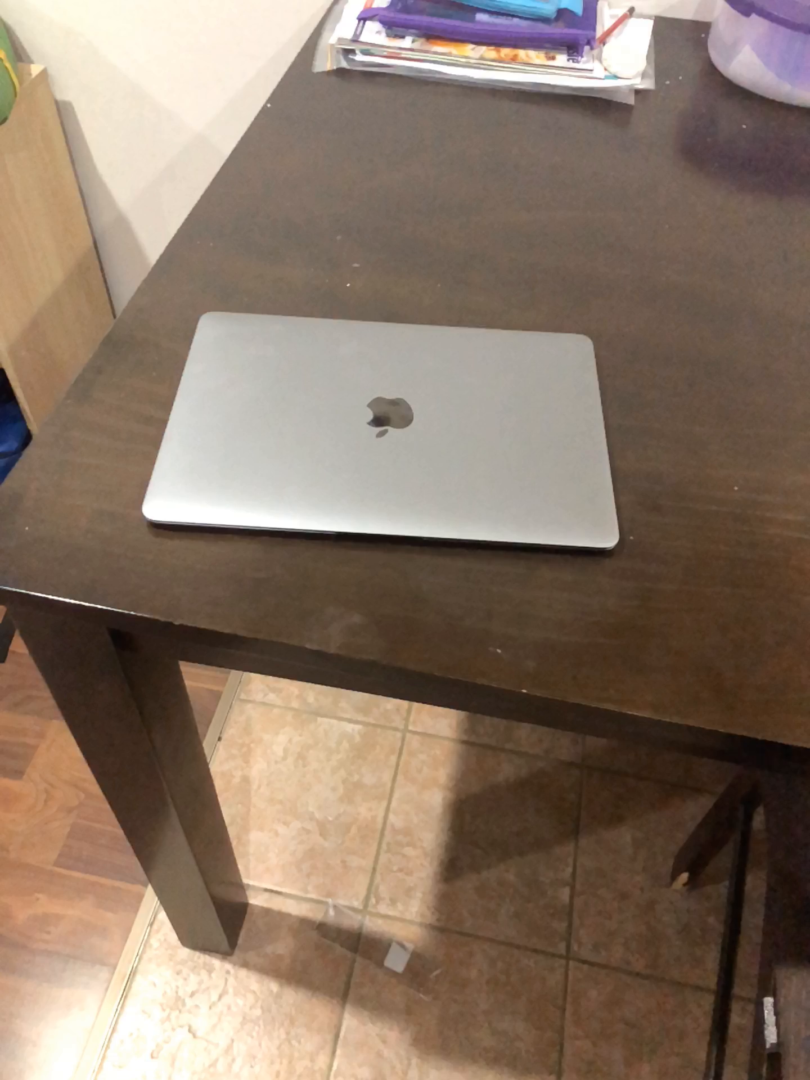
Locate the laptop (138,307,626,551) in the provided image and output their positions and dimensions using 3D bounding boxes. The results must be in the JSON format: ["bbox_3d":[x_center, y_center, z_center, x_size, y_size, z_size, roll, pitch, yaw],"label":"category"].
[{"bbox_3d":[-0.008,-0.078,0.564,0.275,0.002,0.196,4,50,-3],"label":"laptop"}]
